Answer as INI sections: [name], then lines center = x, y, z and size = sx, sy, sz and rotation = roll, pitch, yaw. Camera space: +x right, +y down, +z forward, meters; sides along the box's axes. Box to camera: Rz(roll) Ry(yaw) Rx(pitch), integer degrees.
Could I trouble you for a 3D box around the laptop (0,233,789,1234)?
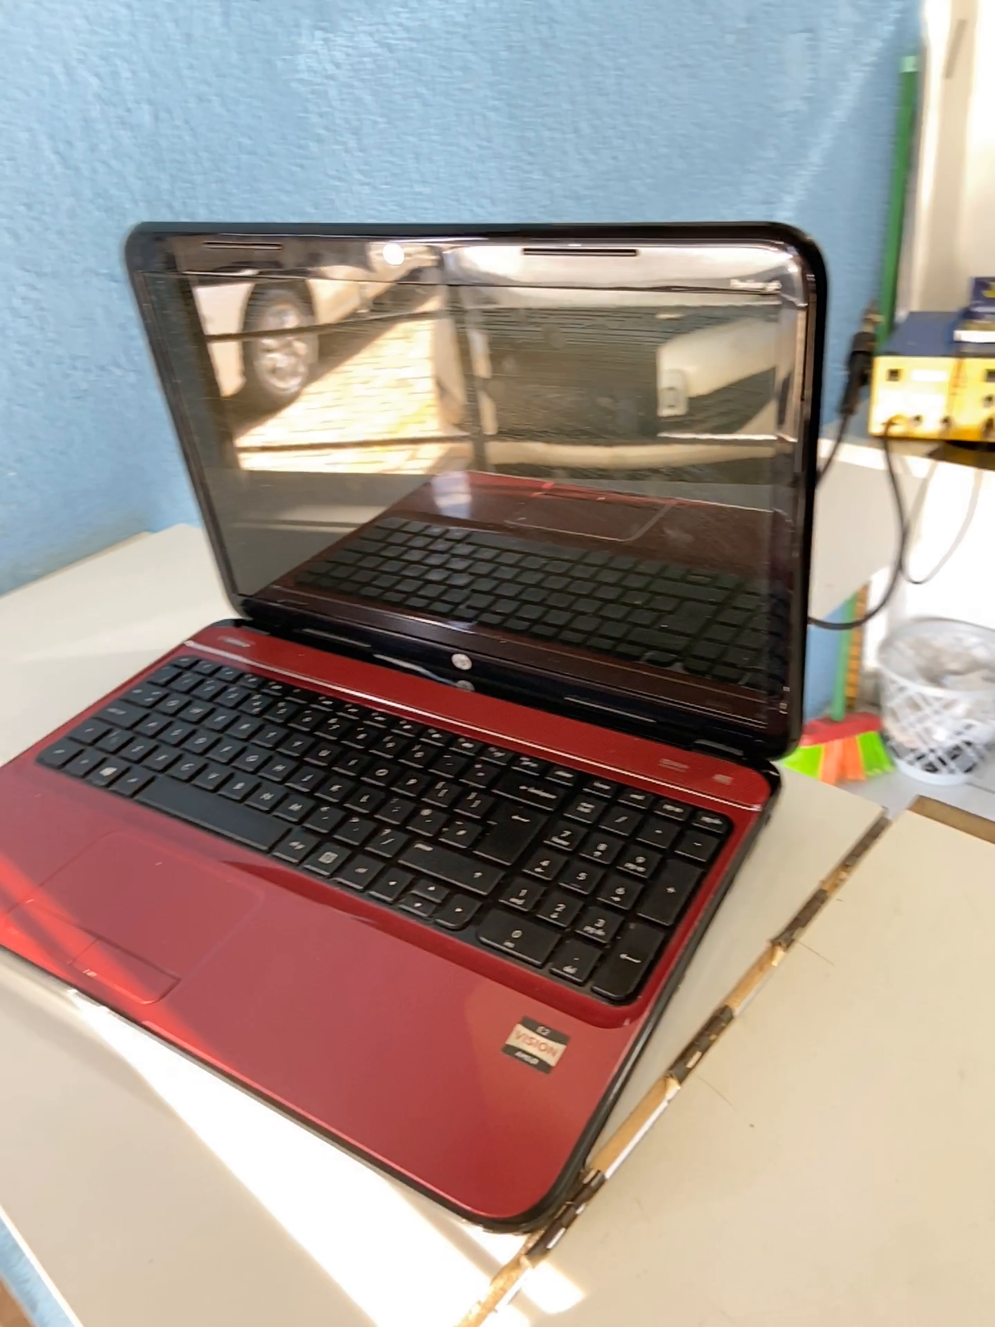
[laptop]
center = -0.098, -0.025, 0.408
size = 0.357, 0.220, 0.228
rotation = 13, 37, 31
